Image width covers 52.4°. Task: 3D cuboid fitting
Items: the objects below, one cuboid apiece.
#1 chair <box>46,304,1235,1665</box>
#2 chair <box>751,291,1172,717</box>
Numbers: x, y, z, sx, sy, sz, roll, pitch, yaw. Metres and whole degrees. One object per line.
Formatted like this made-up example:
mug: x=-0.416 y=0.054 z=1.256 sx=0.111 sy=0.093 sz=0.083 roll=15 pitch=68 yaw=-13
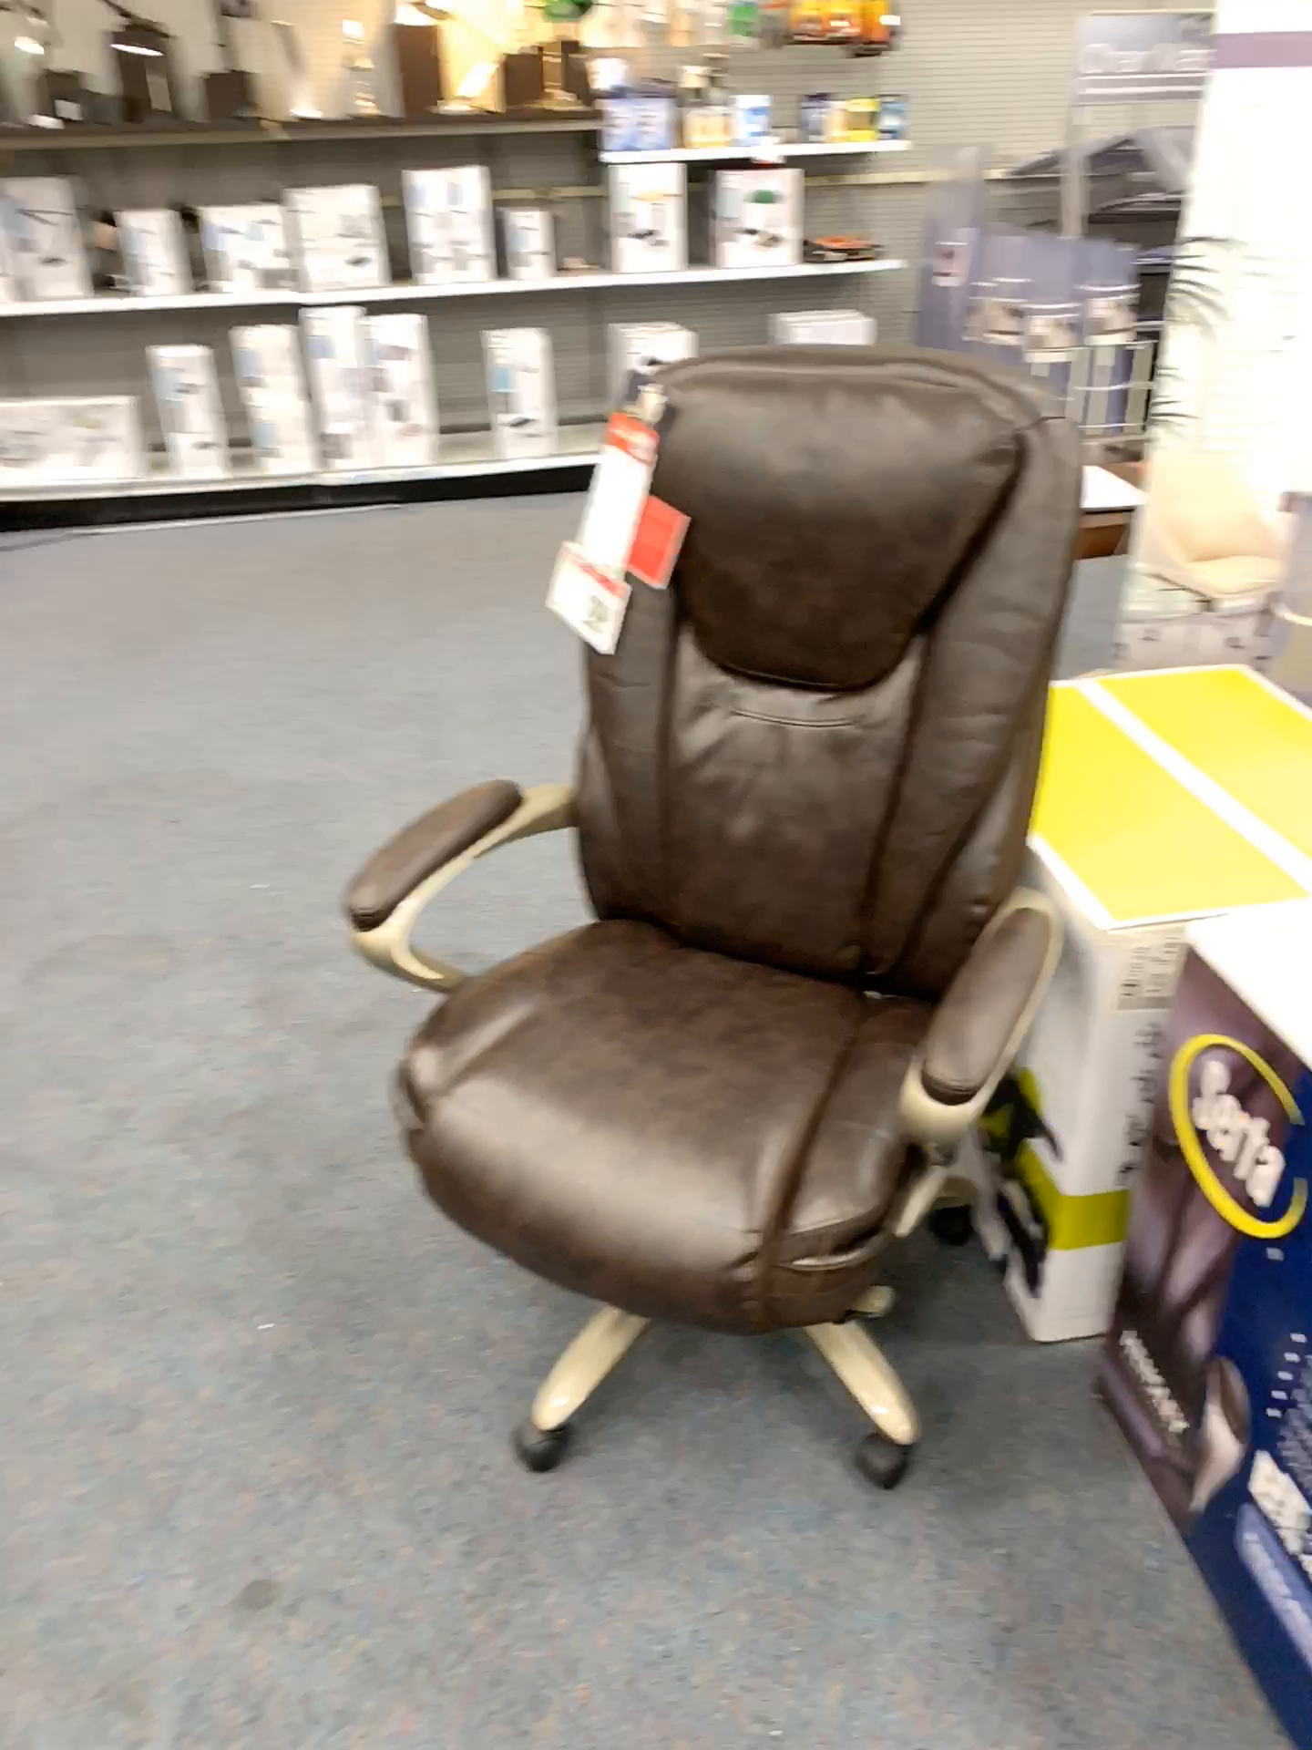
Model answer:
chair: x=0.057 y=0.021 z=1.531 sx=0.783 sy=1.104 sz=0.847 roll=16 pitch=36 yaw=29
chair: x=0.708 y=-0.986 z=3.458 sx=0.824 sy=0.855 sz=0.795 roll=-3 pitch=30 yaw=-2
